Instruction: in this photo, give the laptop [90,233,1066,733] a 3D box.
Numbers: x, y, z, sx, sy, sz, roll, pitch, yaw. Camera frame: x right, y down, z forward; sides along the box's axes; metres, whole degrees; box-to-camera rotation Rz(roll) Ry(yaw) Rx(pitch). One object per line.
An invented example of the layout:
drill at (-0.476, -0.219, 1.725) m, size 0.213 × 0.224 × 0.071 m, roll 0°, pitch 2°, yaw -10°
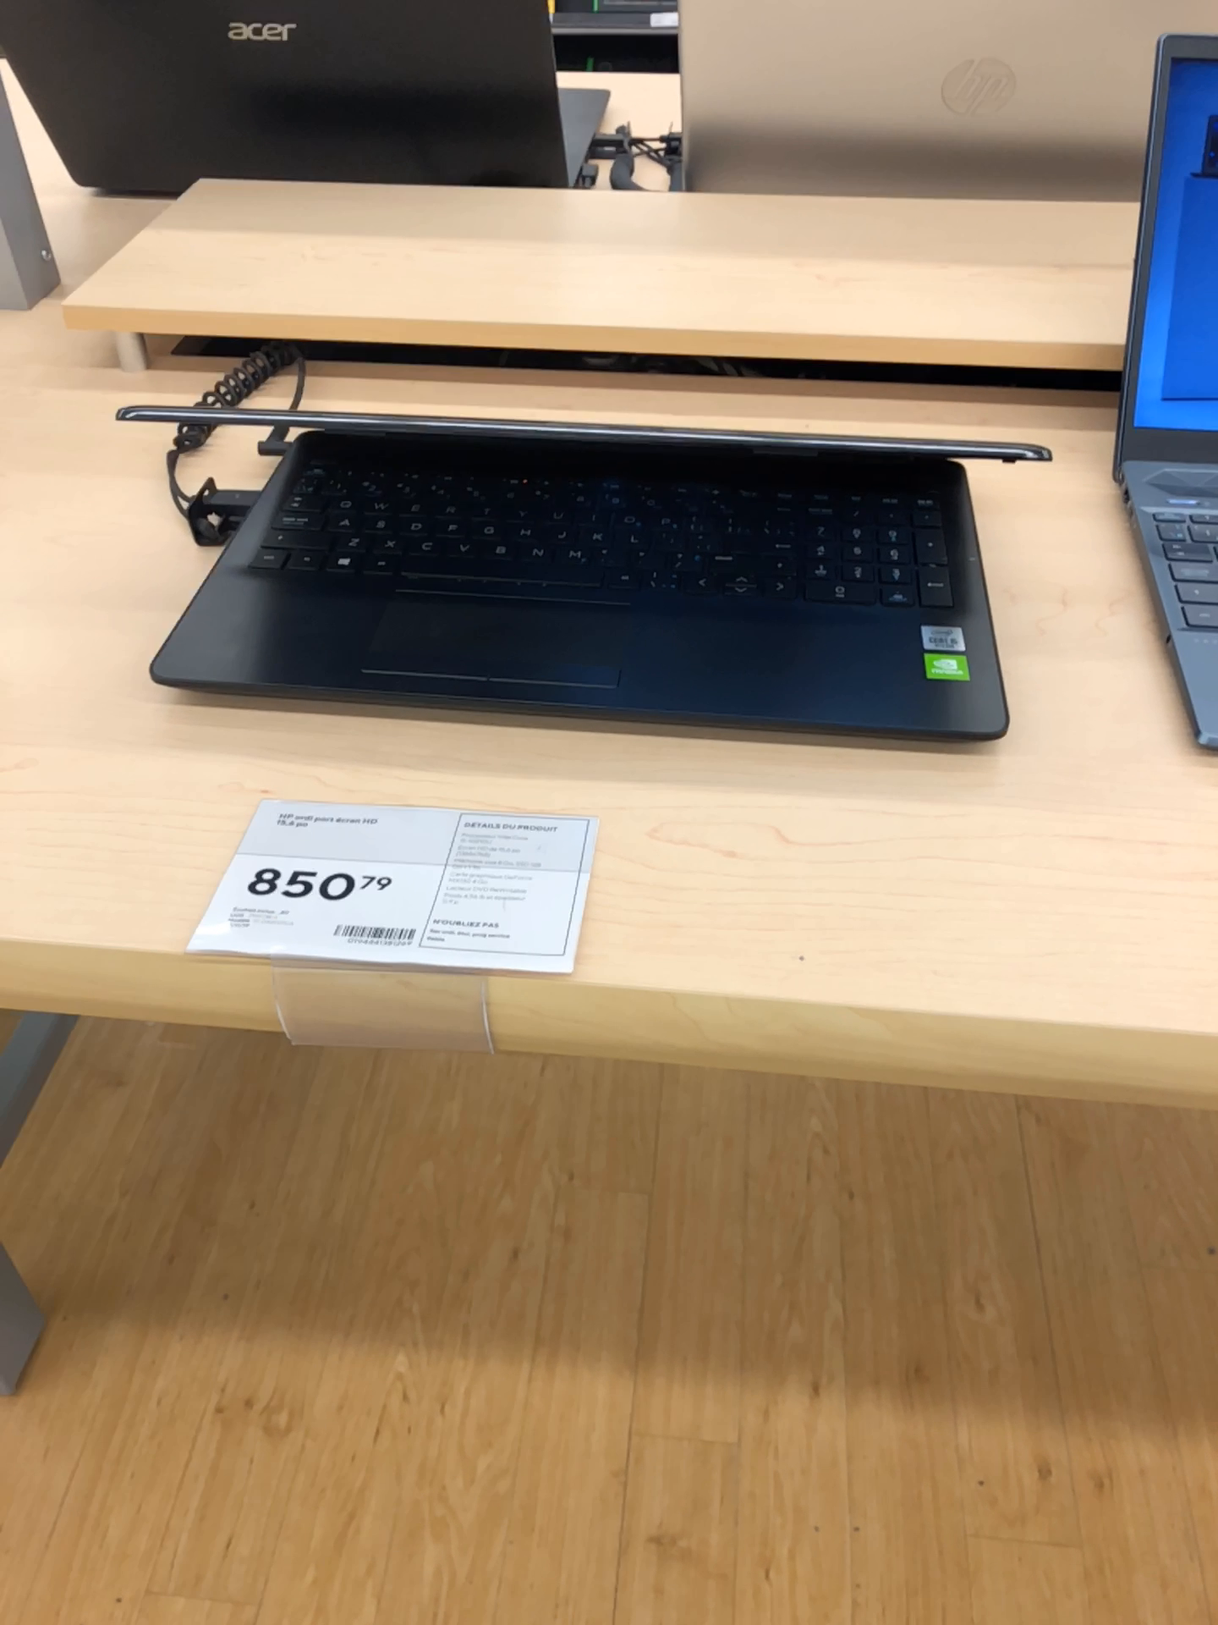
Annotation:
laptop at (-0.008, -0.169, 0.631) m, size 0.371 × 0.115 × 0.240 m, roll 4°, pitch 41°, yaw 6°
